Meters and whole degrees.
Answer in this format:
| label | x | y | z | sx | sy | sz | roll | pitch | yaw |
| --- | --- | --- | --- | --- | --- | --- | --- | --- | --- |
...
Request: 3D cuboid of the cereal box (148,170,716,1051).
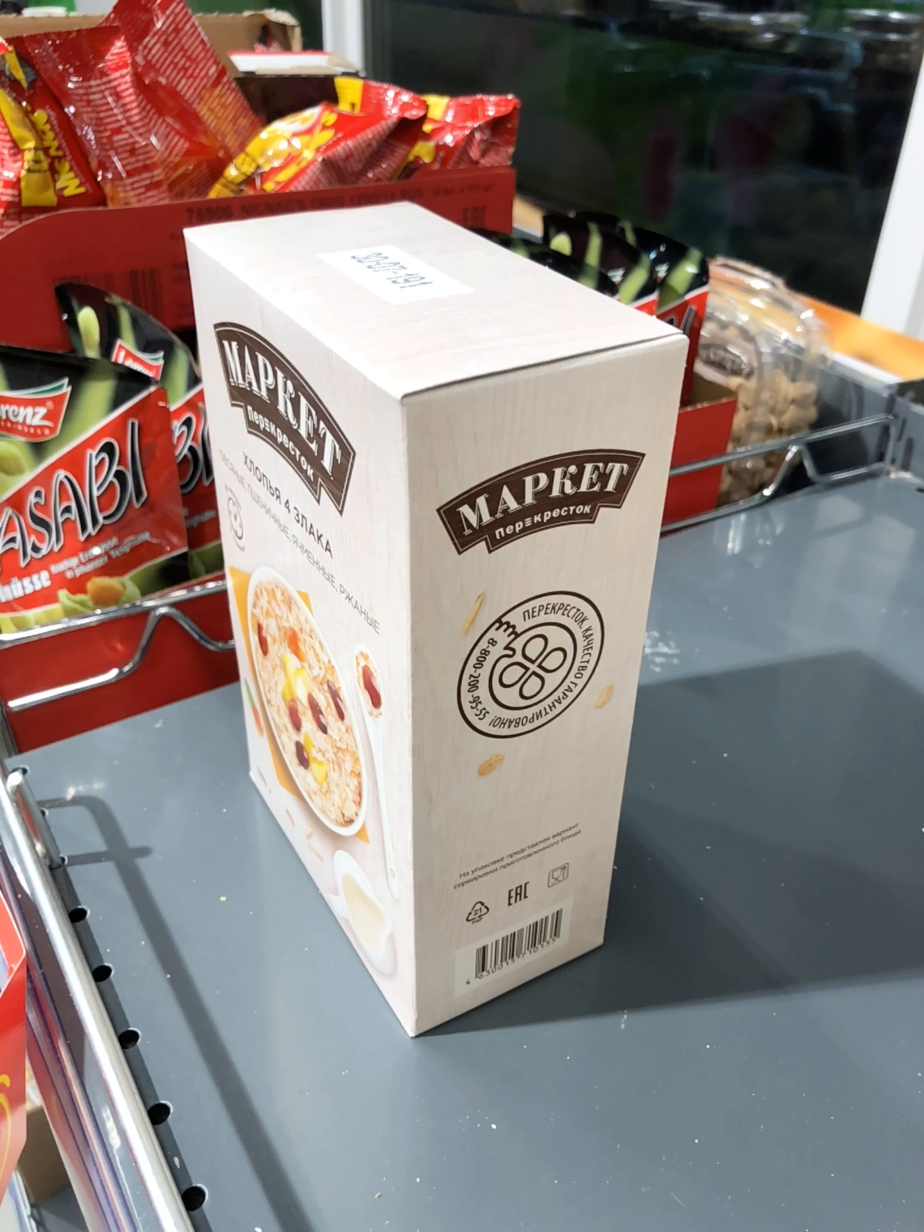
| label | x | y | z | sx | sy | sz | roll | pitch | yaw |
| --- | --- | --- | --- | --- | --- | --- | --- | --- | --- |
| cereal box | -0.018 | -0.005 | 0.280 | 0.070 | 0.189 | 0.131 | -18 | 39 | -26 |
